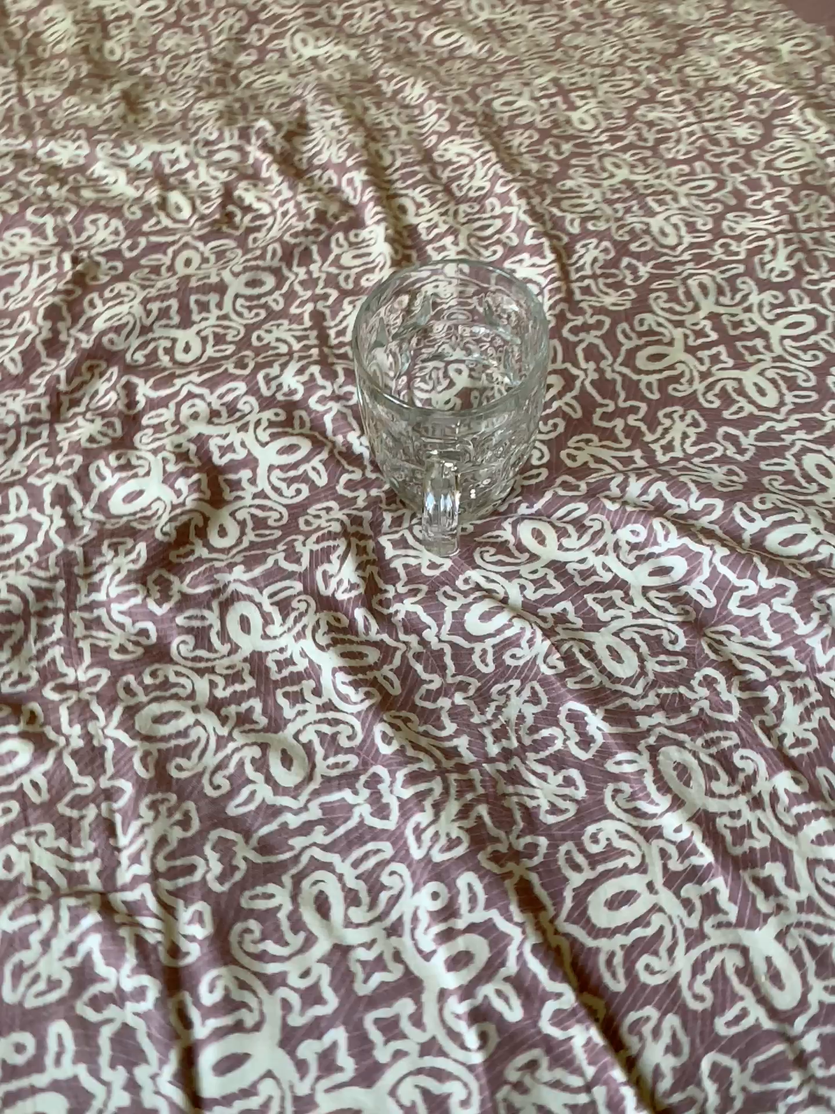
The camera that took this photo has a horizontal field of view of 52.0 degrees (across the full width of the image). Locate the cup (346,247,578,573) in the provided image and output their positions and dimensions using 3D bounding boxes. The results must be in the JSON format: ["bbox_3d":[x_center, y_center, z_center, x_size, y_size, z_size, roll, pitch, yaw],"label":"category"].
[{"bbox_3d":[0.021,-0.068,0.415,0.093,0.099,0.118,-1,61,3],"label":"cup"}]
